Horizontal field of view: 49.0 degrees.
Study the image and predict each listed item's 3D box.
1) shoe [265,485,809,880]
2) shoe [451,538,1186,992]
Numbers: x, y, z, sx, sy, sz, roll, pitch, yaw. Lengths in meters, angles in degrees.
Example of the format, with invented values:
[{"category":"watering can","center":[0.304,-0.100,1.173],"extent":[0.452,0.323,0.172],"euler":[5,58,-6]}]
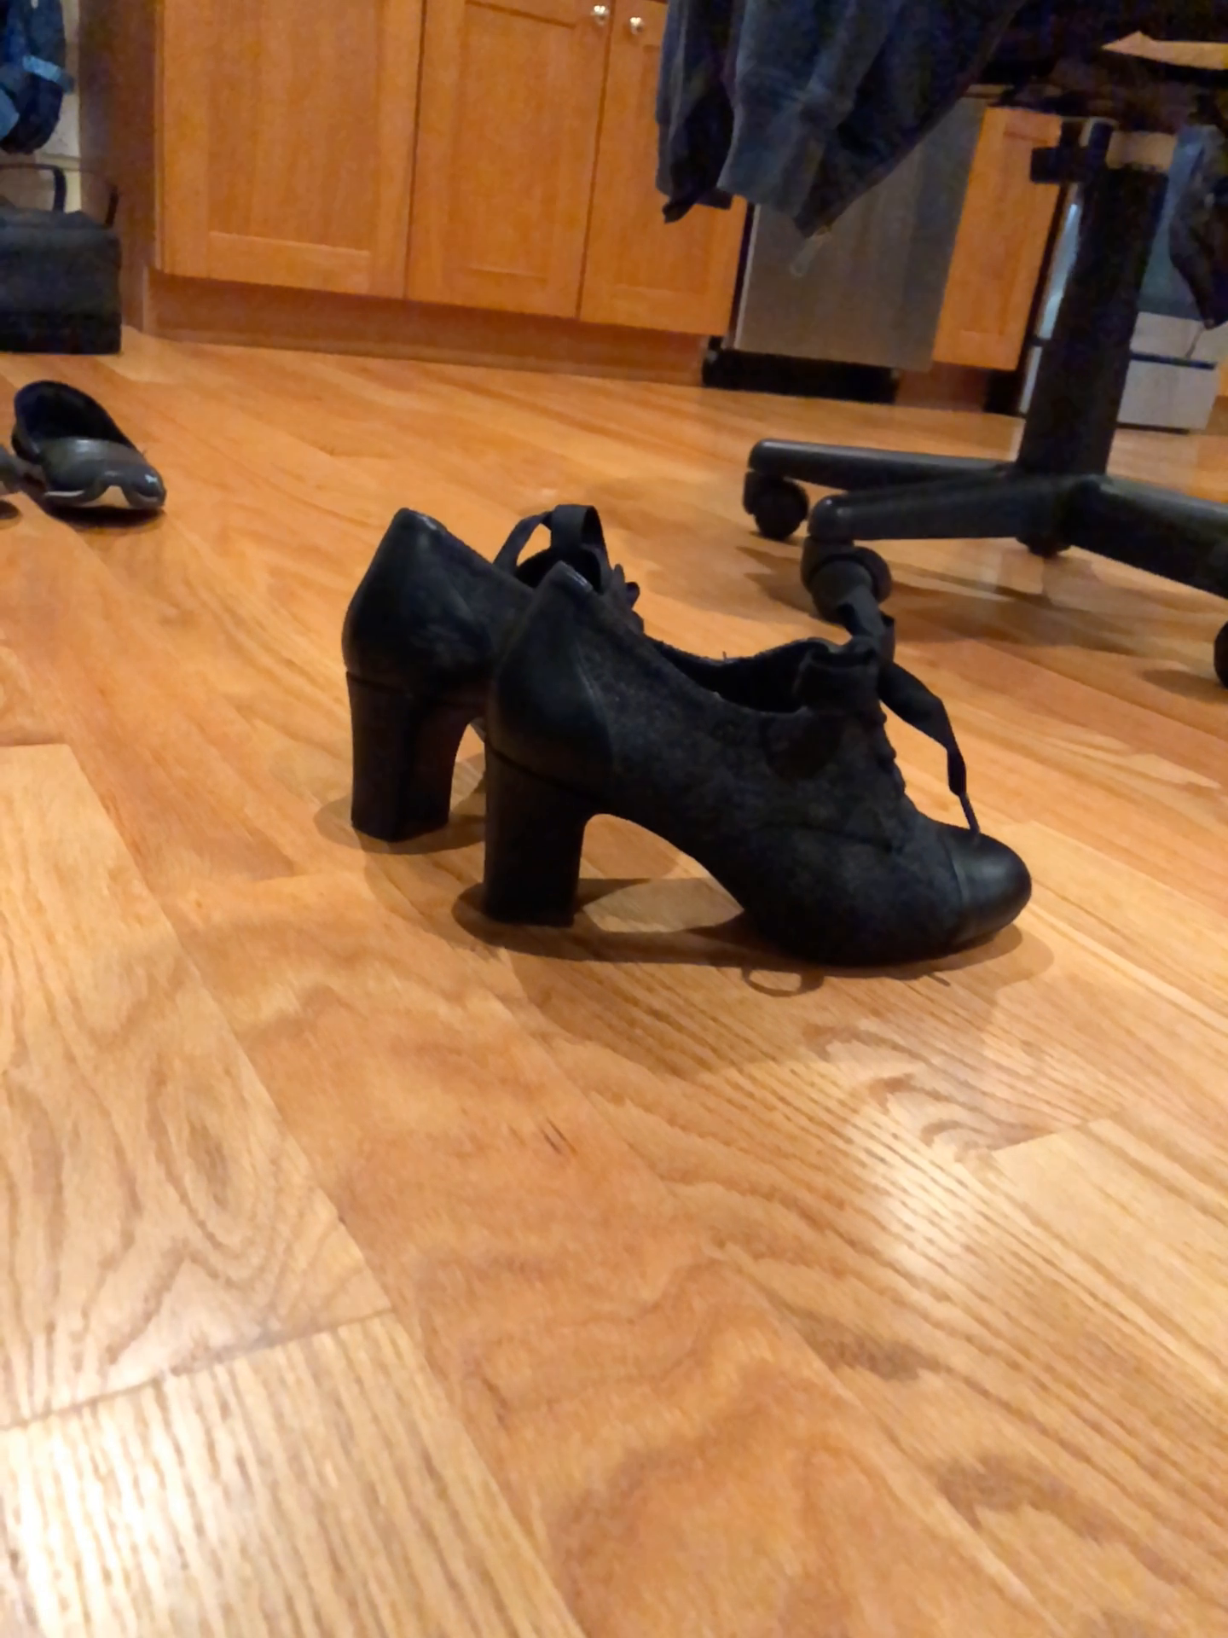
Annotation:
[{"category":"shoe","center":[-0.027,-0.071,0.583],"extent":[0.088,0.125,0.223],"euler":[25,27,37]},{"category":"shoe","center":[0.063,-0.018,0.482],"extent":[0.223,0.125,0.094],"euler":[3,22,-14]}]
